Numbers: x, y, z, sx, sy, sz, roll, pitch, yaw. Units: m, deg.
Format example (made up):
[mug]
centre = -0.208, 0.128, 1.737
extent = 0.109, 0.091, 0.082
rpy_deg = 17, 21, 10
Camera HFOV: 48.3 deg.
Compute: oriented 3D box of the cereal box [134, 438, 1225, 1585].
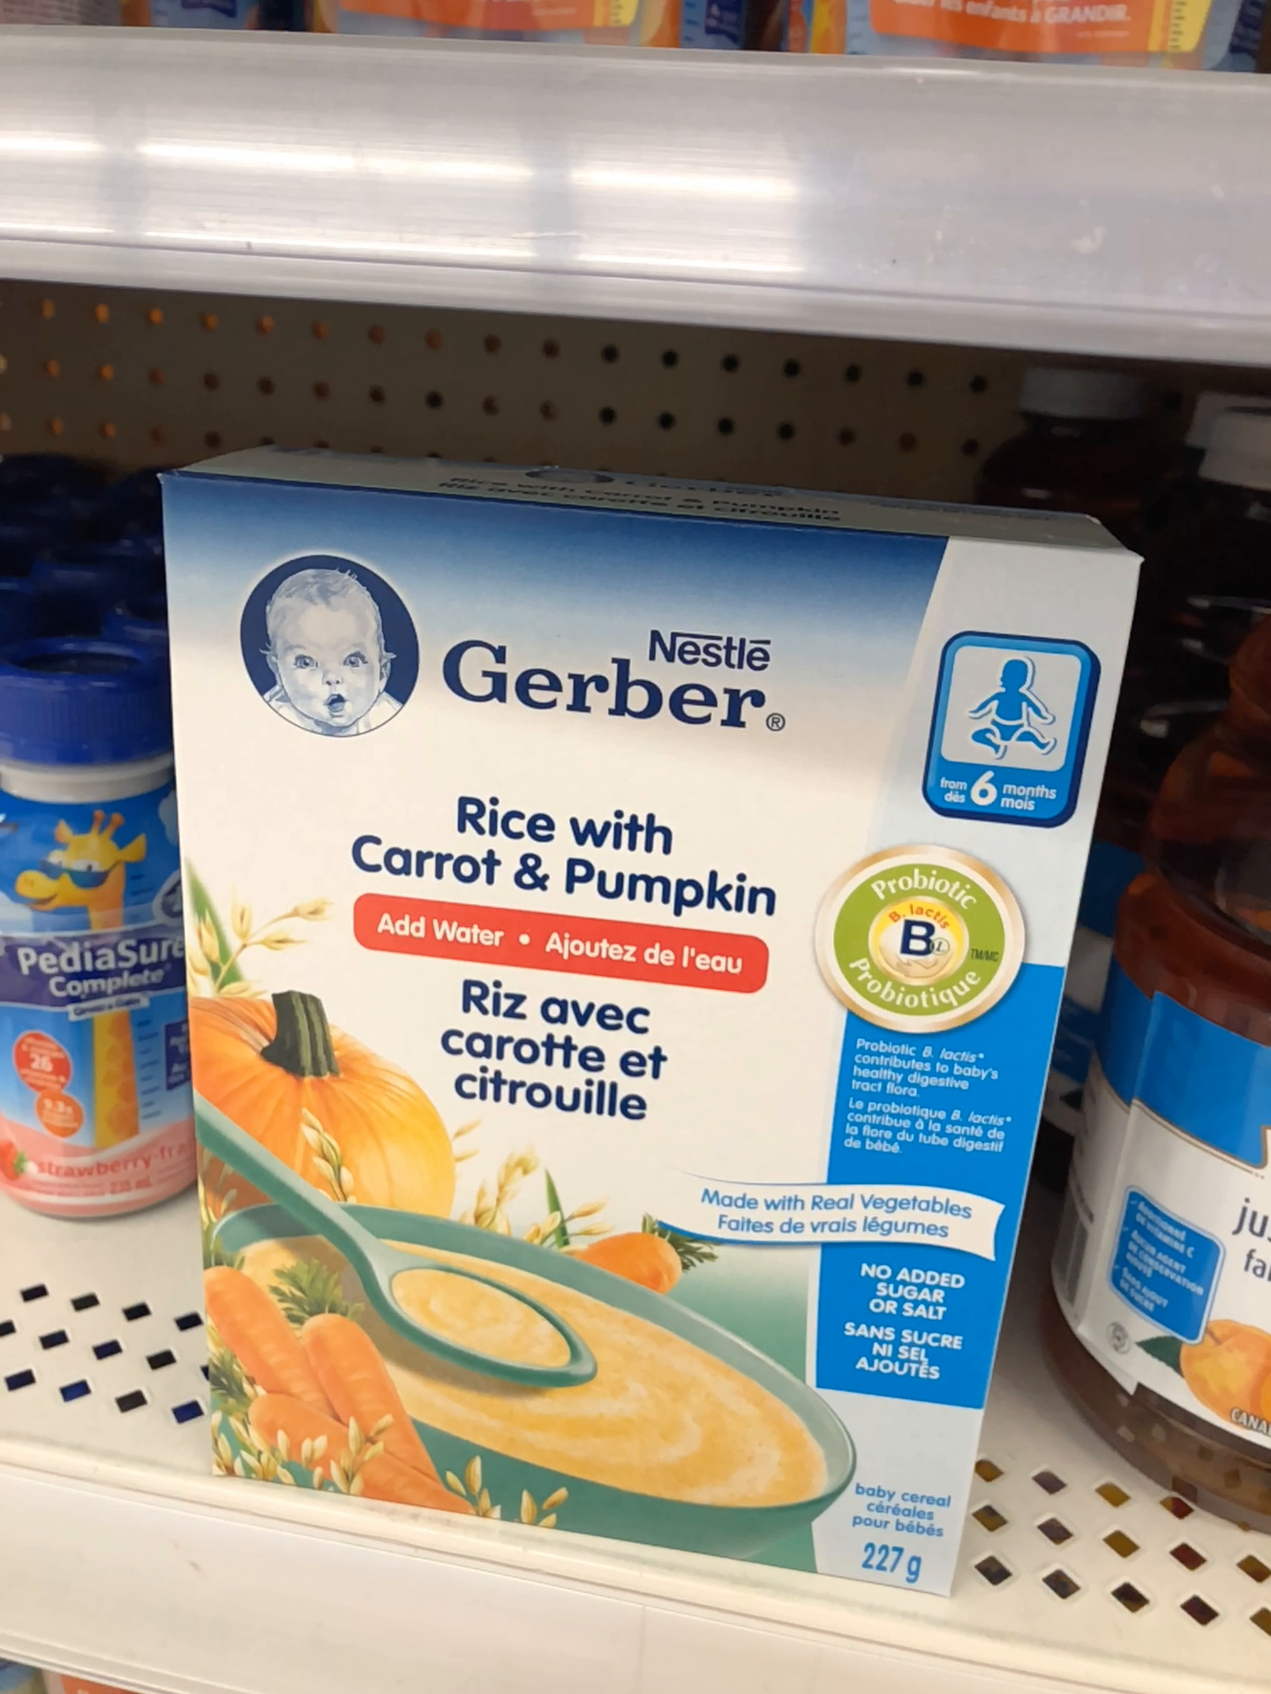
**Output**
[cereal box]
centre = 0.000, 0.030, 0.249
extent = 0.150, 0.179, 0.050
rpy_deg = 7, 21, 5
